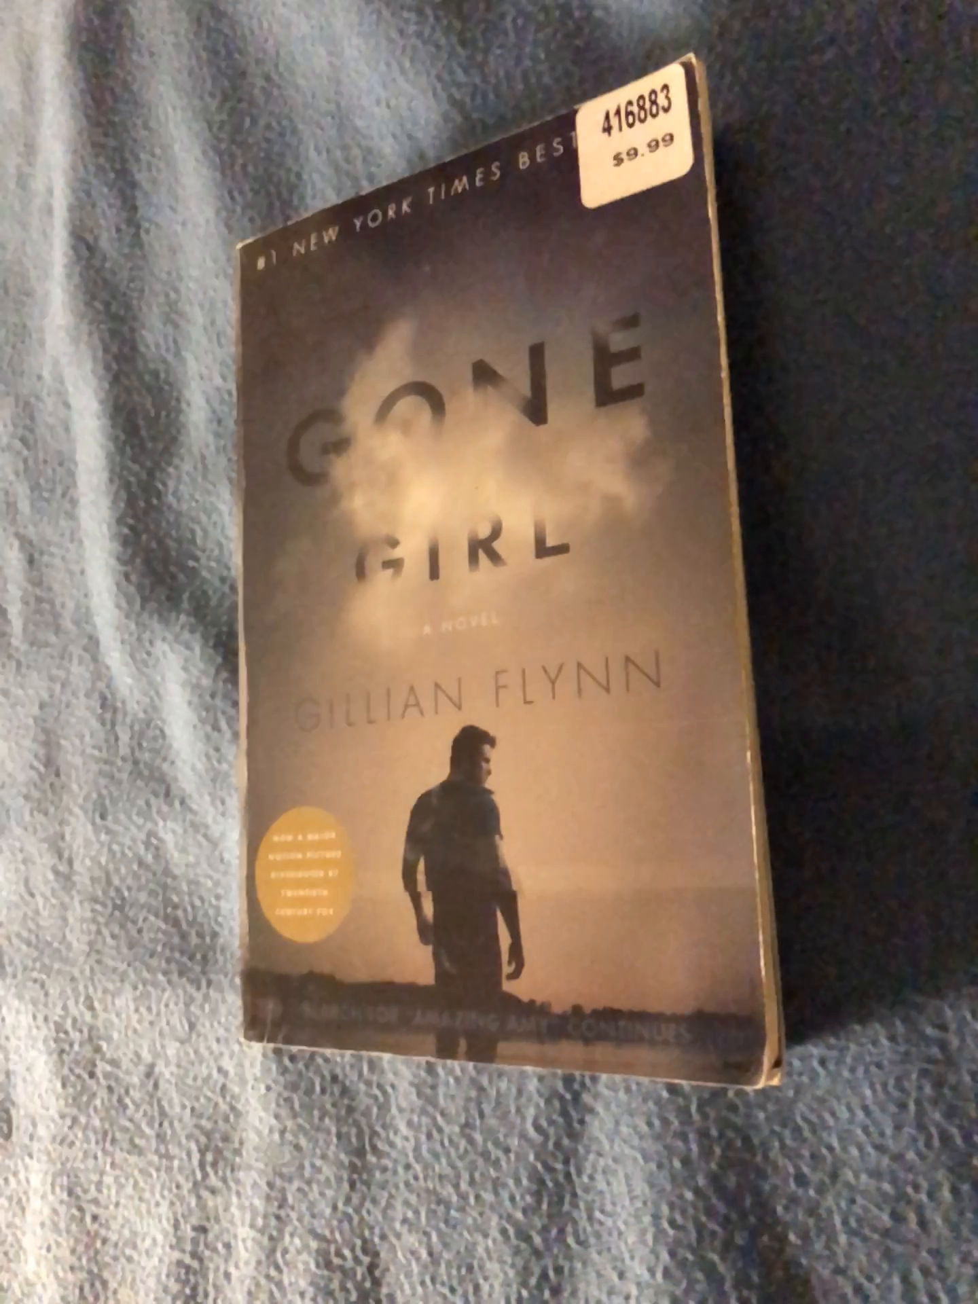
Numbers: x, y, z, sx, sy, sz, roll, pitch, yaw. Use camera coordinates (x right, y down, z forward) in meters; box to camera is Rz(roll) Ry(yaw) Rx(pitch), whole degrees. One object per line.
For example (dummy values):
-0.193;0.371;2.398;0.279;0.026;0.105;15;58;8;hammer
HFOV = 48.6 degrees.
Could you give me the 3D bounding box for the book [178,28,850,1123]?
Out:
-0.003;-0.012;0.245;0.141;0.040;0.200;-7;79;30;book
